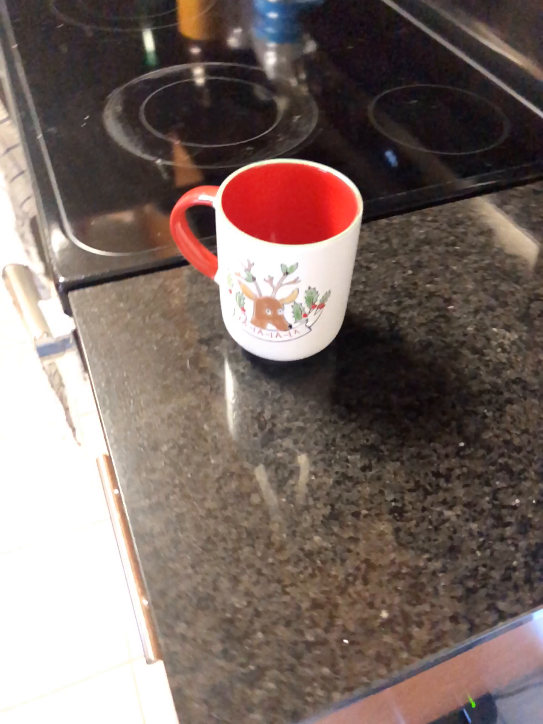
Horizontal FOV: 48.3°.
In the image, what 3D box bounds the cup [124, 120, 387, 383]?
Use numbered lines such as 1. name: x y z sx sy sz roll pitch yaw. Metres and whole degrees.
1. cup: -0.008 -0.073 0.400 0.130 0.110 0.090 19 51 14
